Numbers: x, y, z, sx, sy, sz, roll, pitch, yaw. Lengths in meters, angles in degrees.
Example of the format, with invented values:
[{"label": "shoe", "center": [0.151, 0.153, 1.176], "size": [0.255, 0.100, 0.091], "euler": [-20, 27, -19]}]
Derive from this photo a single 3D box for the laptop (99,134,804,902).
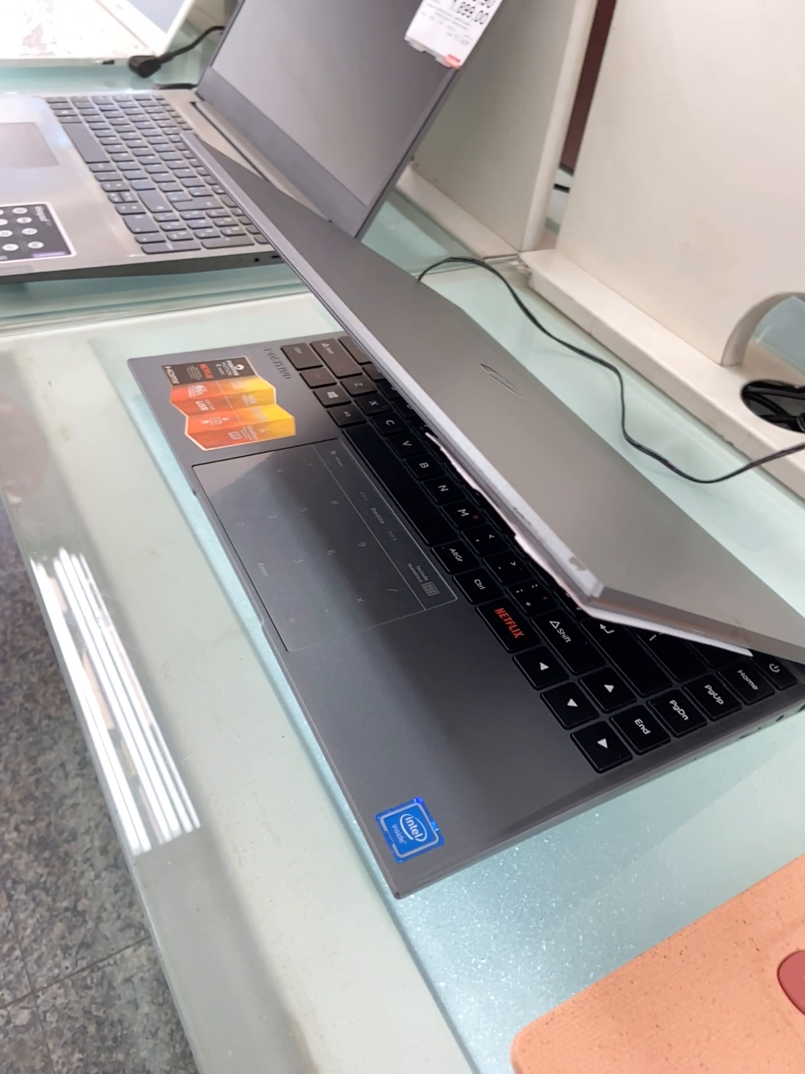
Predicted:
[{"label": "laptop", "center": [0.019, -0.060, 0.368], "size": [0.211, 0.113, 0.334], "euler": [-15, 46, -24]}]
